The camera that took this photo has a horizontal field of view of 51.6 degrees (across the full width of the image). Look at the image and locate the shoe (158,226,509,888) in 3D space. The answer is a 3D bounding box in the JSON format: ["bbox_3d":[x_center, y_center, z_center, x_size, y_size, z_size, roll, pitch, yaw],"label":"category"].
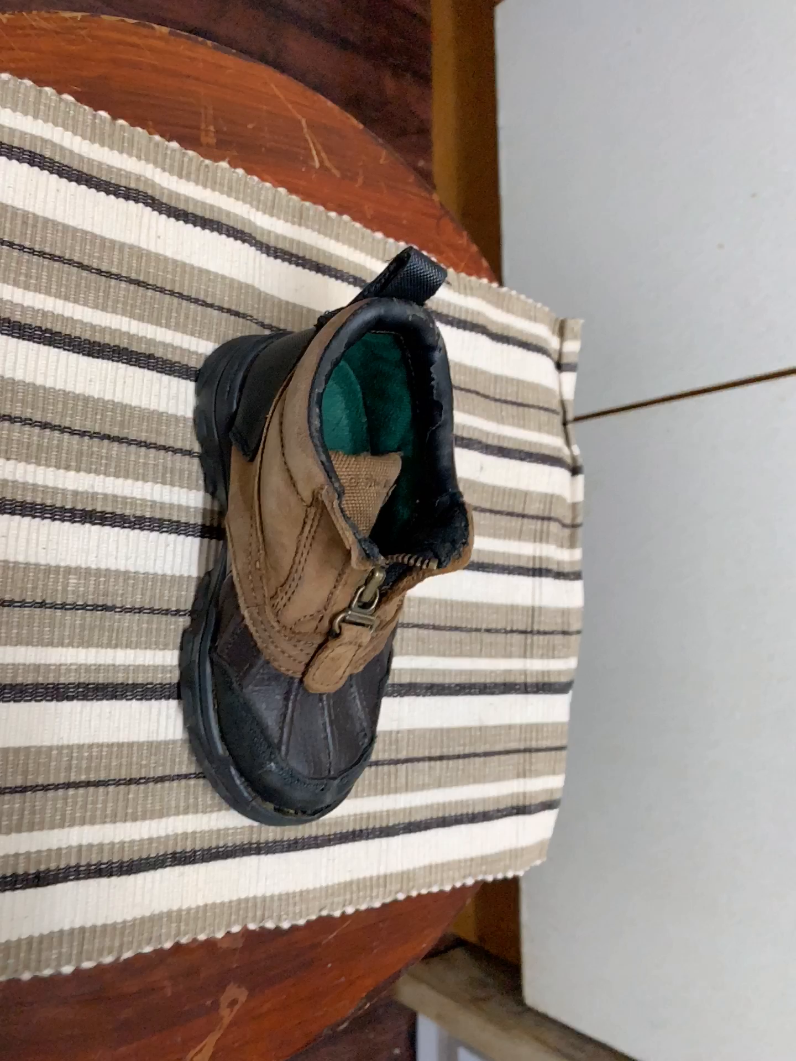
[{"bbox_3d":[-0.023,0.009,0.283,0.080,0.089,0.180,5,83,-39],"label":"shoe"}]
